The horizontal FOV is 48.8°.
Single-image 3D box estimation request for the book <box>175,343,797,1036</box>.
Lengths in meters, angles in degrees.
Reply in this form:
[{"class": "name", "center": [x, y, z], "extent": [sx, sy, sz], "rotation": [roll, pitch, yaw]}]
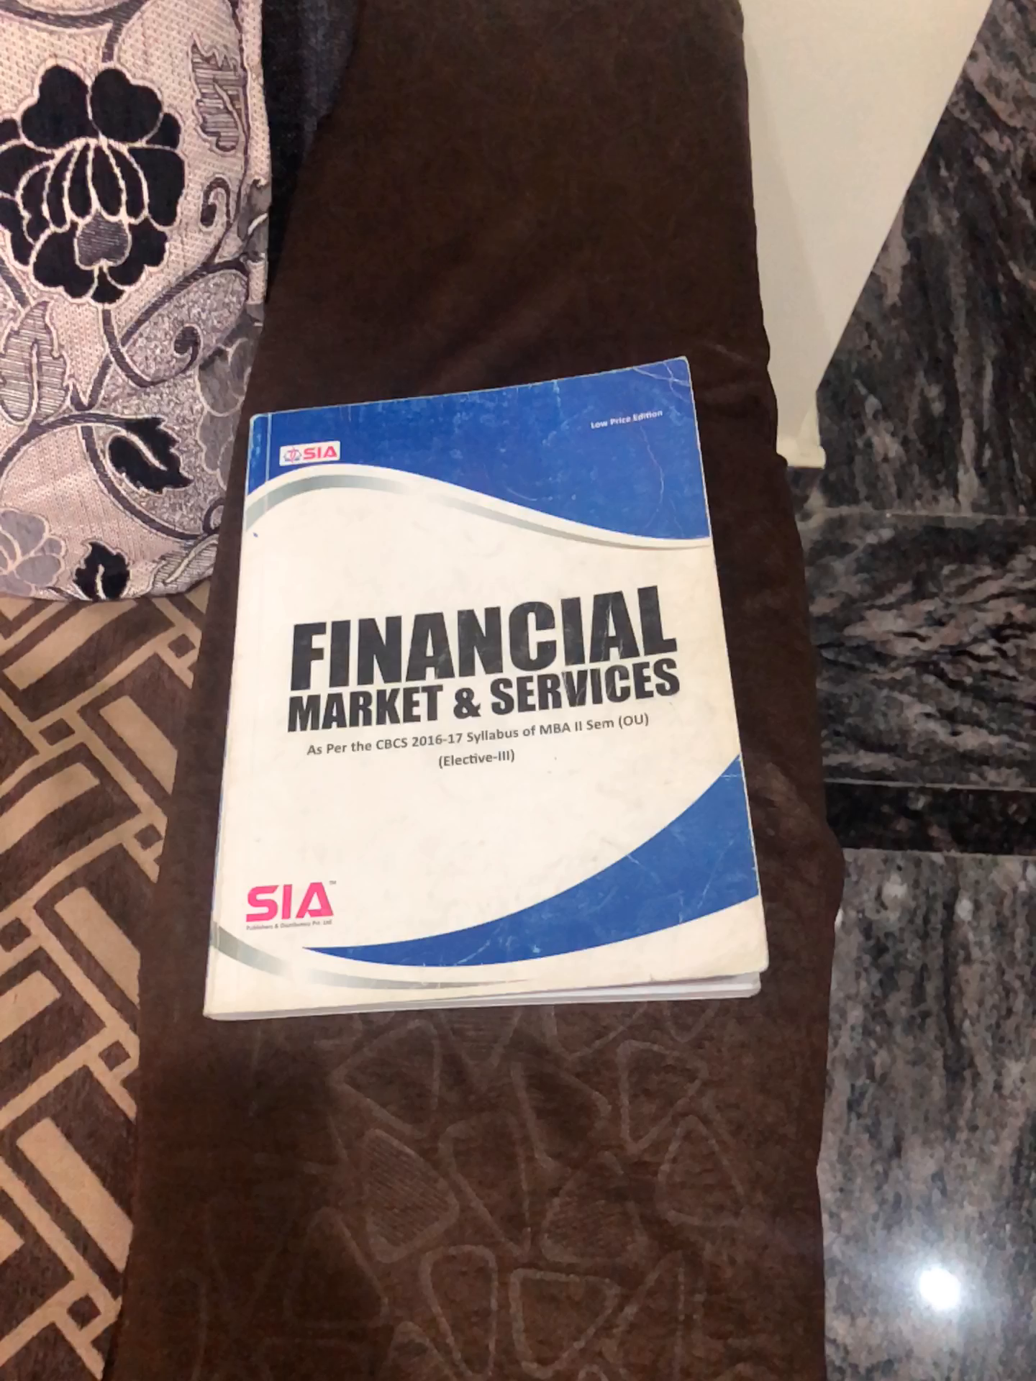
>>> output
[{"class": "book", "center": [-0.017, -0.013, 0.485], "extent": [0.220, 0.040, 0.290], "rotation": [-4, 63, 4]}]
